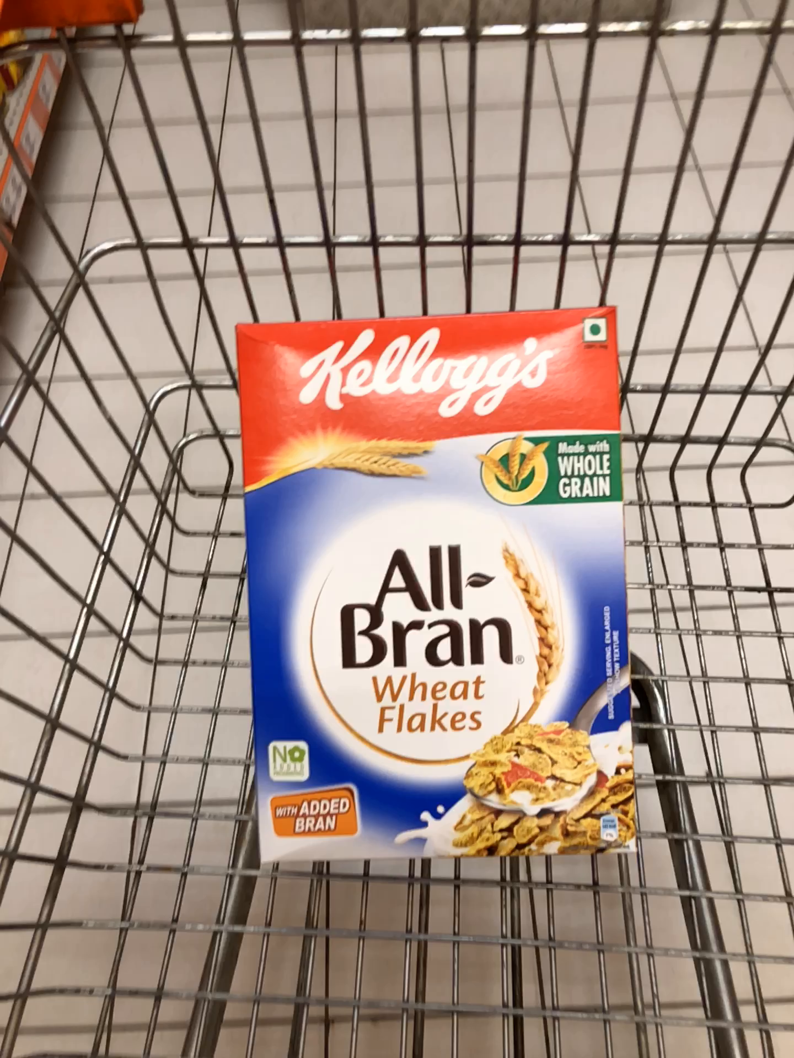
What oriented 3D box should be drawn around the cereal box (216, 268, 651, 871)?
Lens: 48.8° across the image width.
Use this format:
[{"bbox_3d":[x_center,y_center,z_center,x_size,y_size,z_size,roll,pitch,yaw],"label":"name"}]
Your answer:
[{"bbox_3d":[0.019,0.019,0.435,0.190,0.080,0.270,-1,94,2],"label":"cereal box"}]
